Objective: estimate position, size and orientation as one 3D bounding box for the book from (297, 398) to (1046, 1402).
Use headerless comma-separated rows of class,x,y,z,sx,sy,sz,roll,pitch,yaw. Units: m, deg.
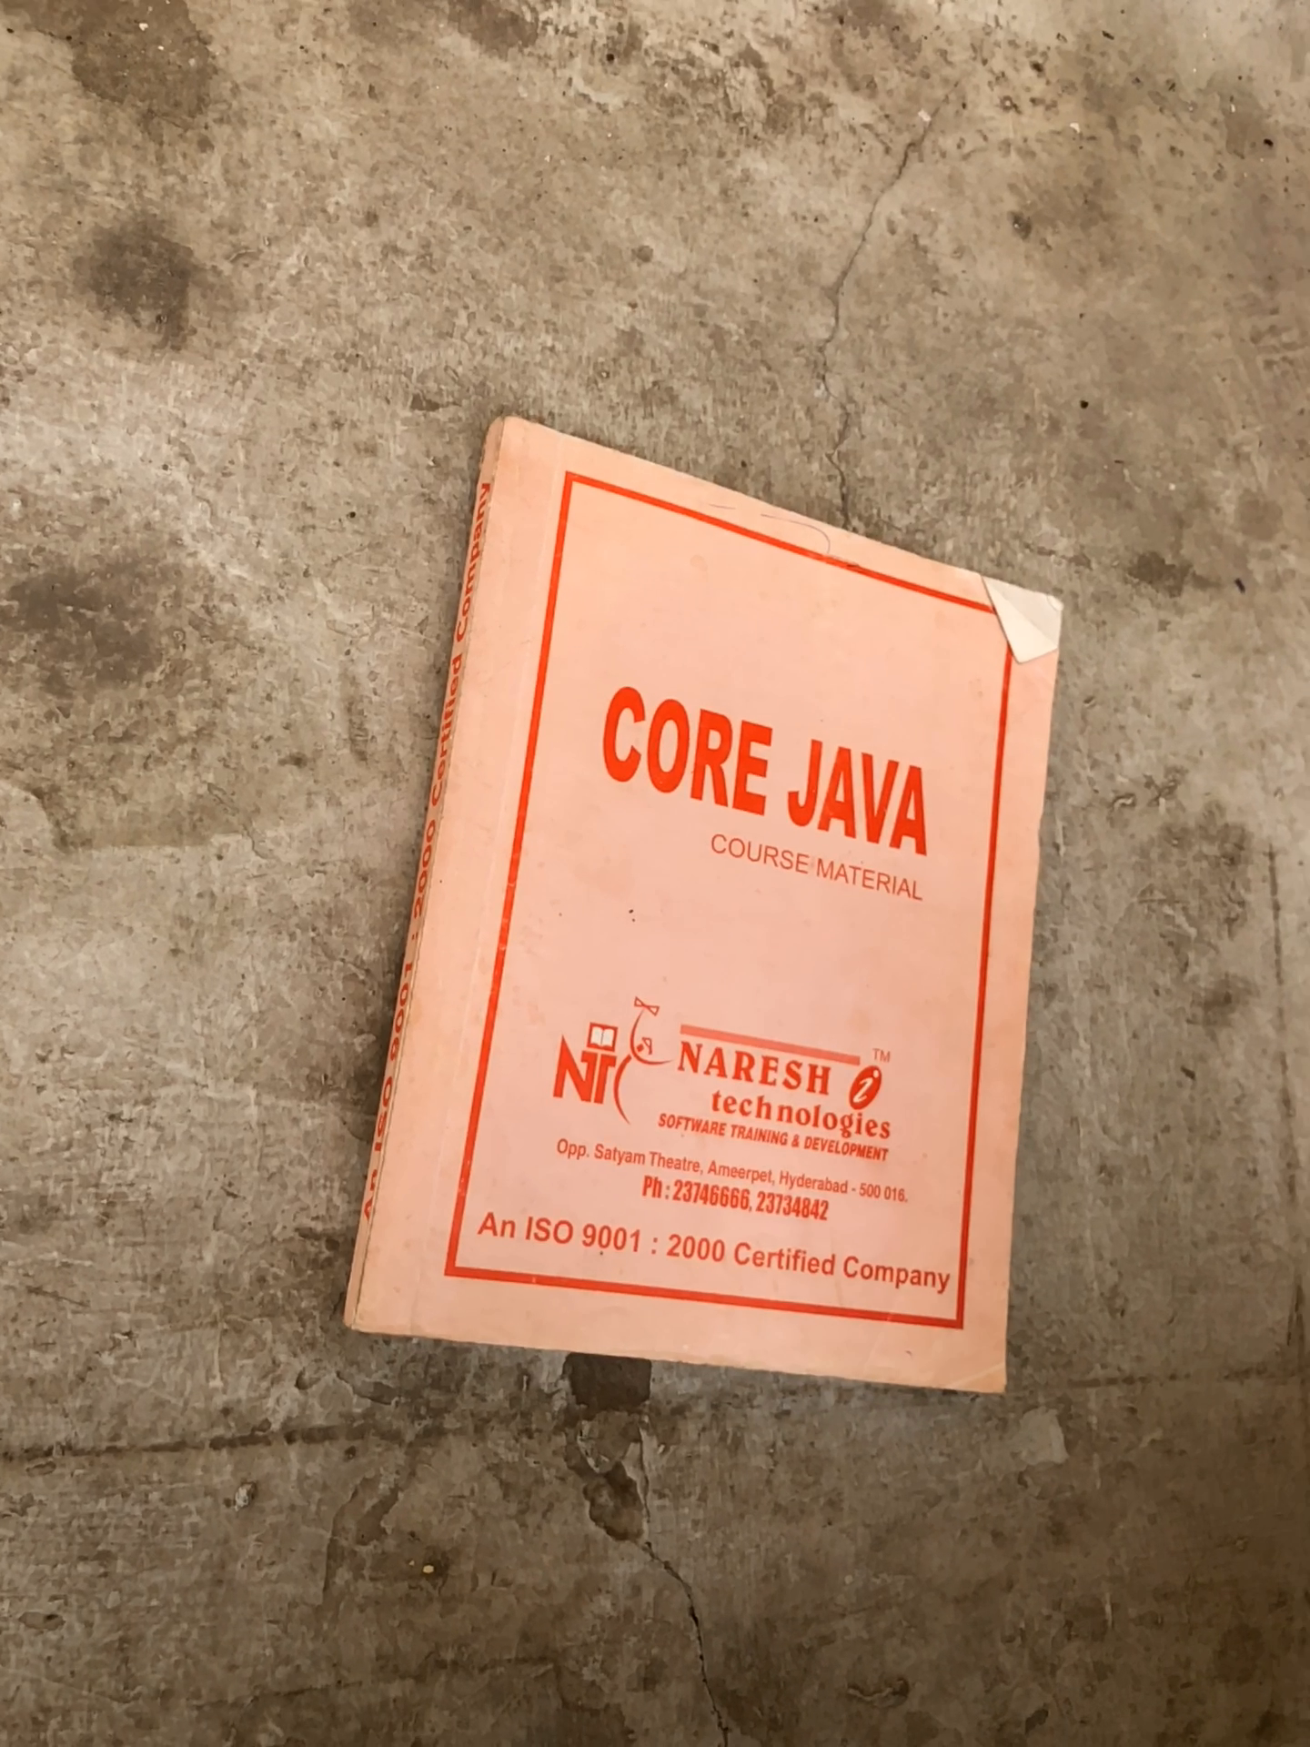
book,0.018,0.012,0.431,0.200,0.030,0.260,11,75,-20
